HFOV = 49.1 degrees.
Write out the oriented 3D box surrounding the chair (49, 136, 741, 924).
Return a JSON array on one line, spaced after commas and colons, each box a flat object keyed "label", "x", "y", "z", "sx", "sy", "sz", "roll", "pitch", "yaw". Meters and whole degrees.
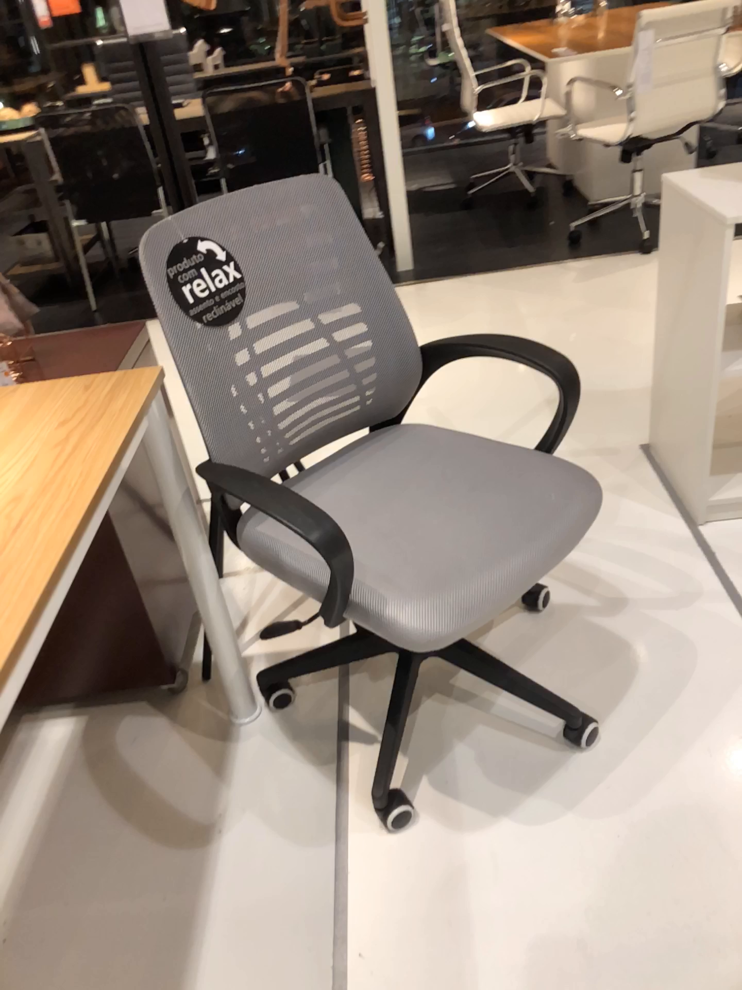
[{"label": "chair", "x": 0.085, "y": -0.028, "z": 1.278, "sx": 0.662, "sy": 0.853, "sz": 0.663, "roll": -32, "pitch": 39, "yaw": -32}]
